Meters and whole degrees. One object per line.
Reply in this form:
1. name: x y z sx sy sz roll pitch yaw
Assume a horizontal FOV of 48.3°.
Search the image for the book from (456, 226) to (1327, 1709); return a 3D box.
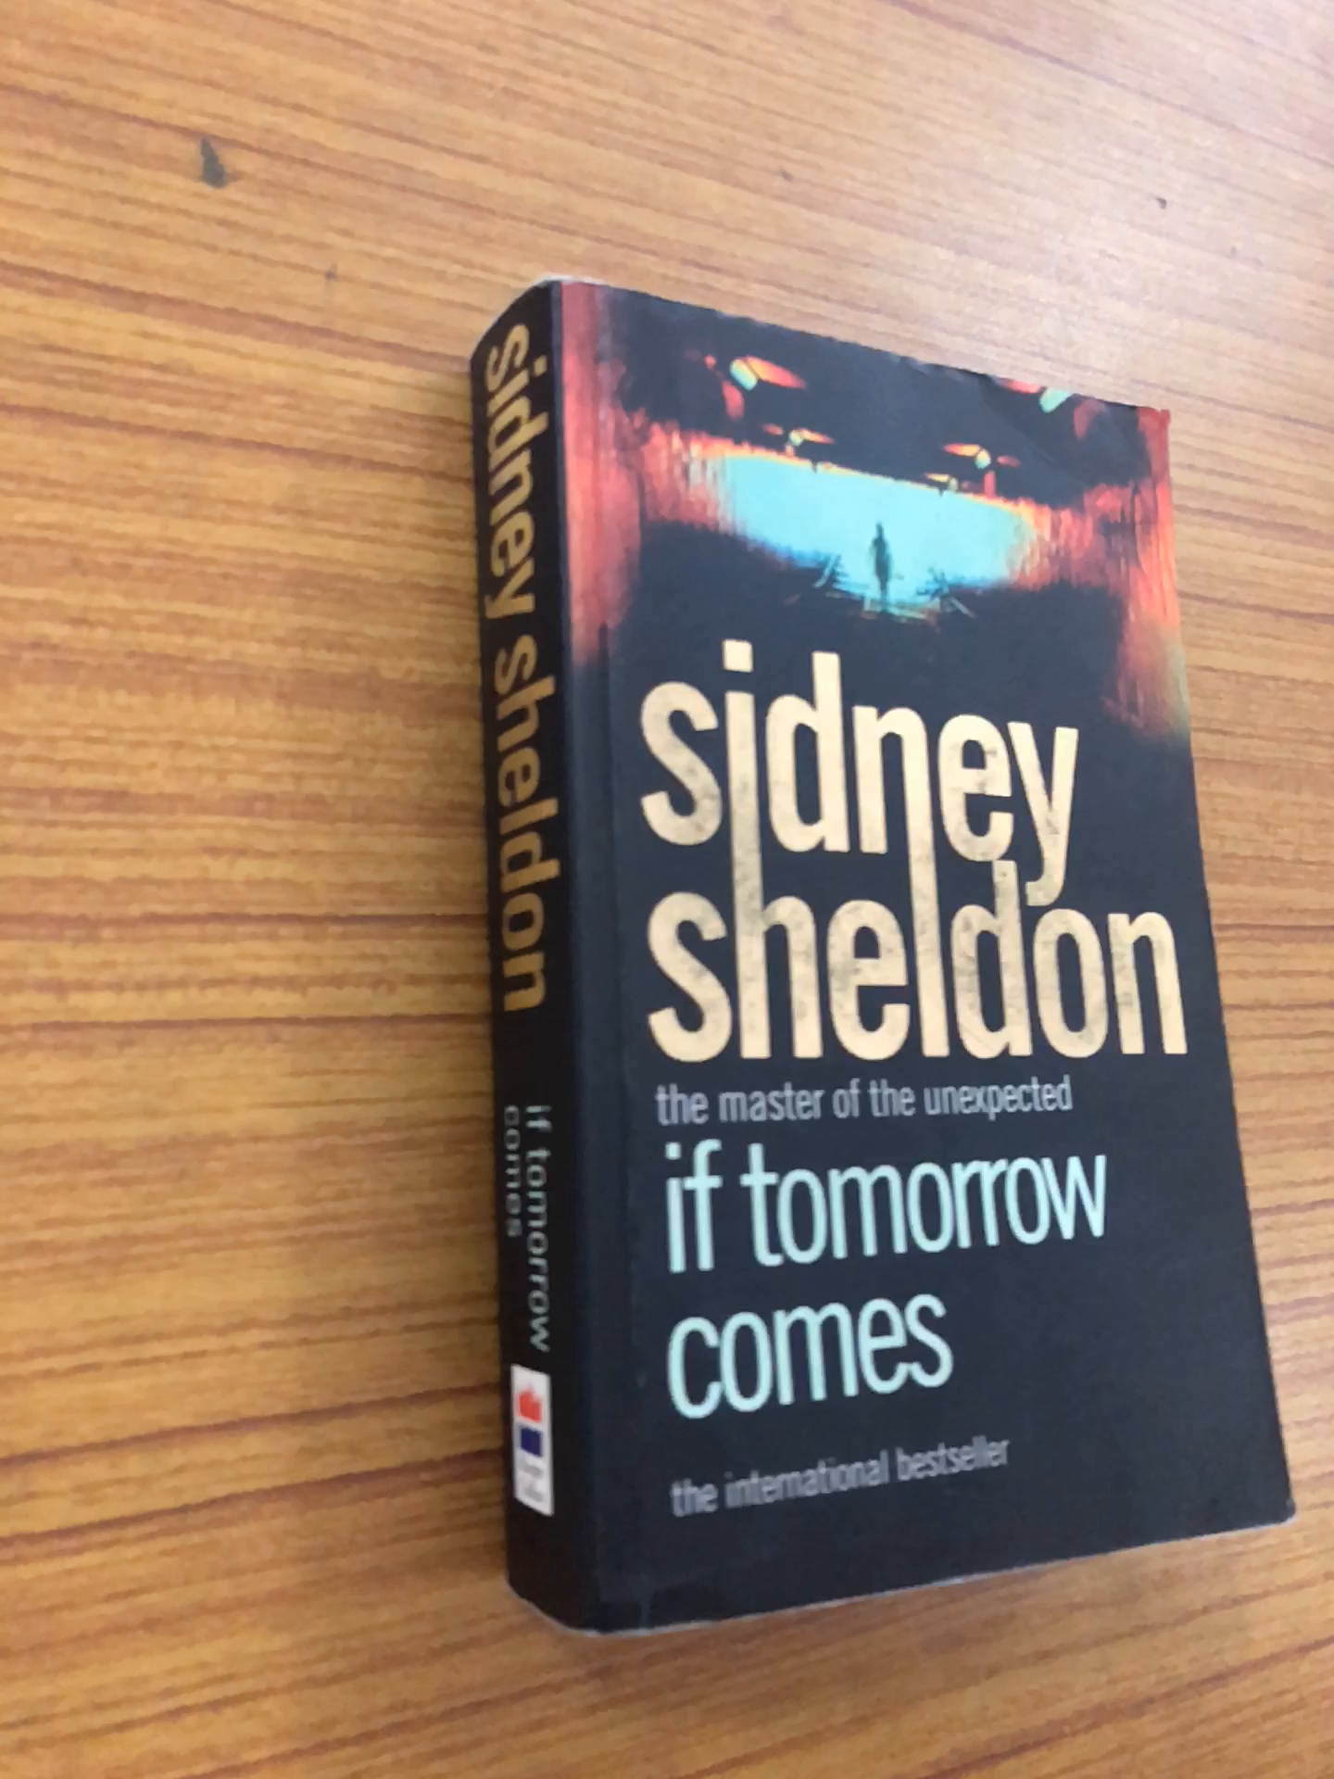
1. book: 0.032 0.007 0.217 0.115 0.034 0.176 2 79 -28
